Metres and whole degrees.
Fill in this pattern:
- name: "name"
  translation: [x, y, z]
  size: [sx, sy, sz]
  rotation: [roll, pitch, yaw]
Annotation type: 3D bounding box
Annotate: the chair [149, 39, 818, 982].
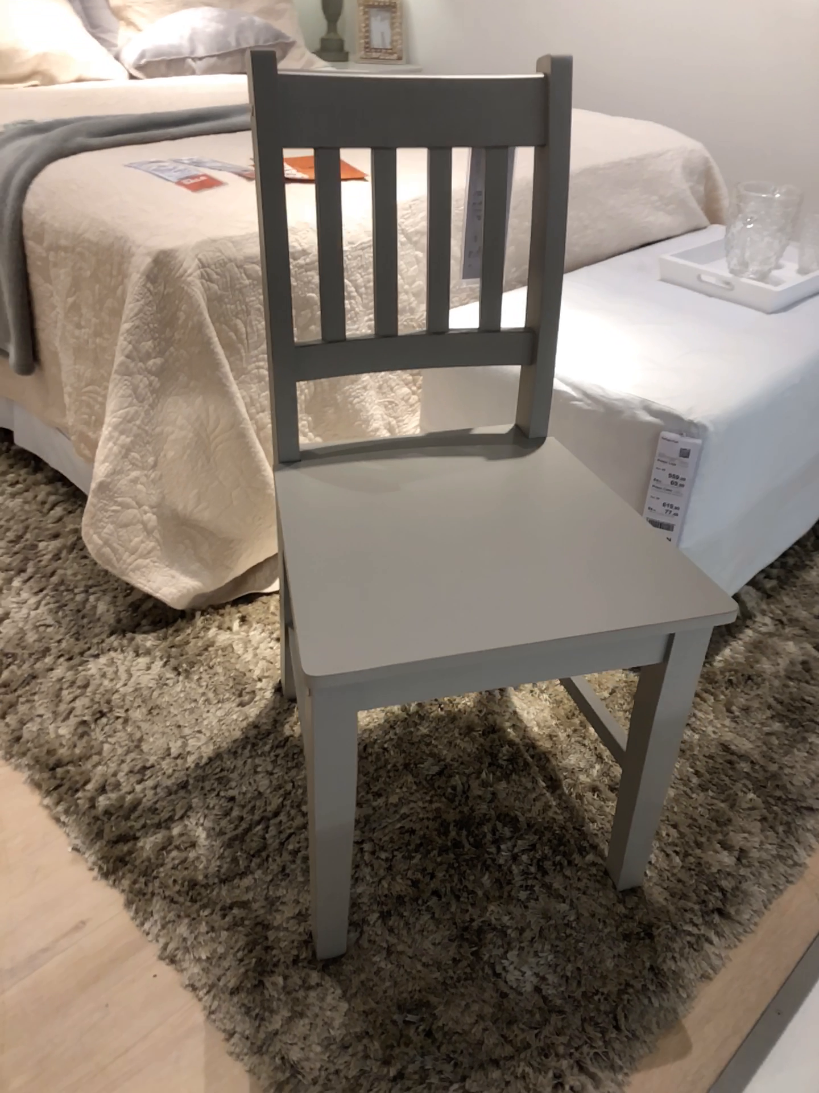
- name: "chair"
  translation: [0.019, -0.060, 1.001]
  size: [0.480, 0.823, 0.534]
  rotation: [-7, 35, -16]
